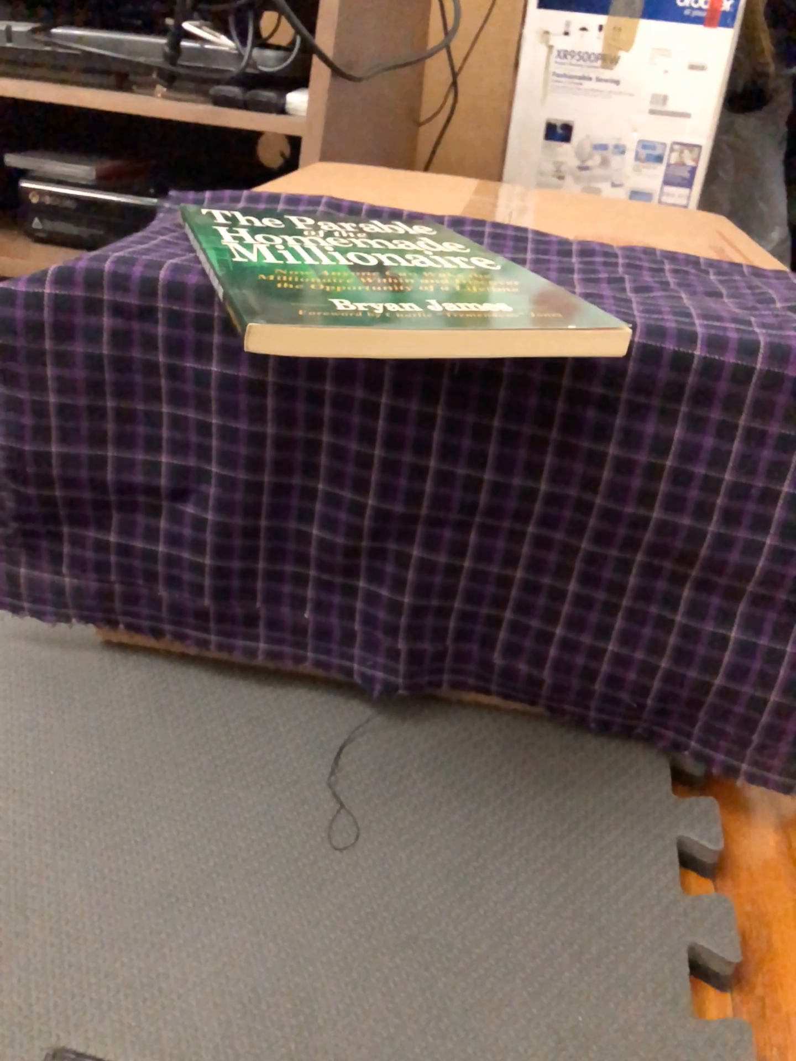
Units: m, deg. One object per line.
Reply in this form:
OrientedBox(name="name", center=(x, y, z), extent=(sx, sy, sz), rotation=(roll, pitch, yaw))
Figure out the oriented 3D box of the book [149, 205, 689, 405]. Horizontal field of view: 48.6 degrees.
OrientedBox(name="book", center=(-0.011, -0.101, 0.362), extent=(0.160, 0.020, 0.211), rotation=(-4, 30, -18))
